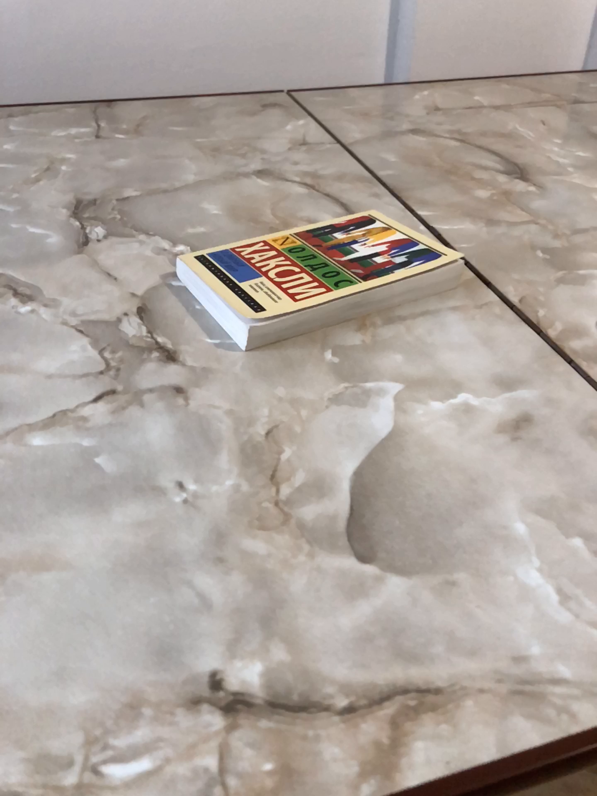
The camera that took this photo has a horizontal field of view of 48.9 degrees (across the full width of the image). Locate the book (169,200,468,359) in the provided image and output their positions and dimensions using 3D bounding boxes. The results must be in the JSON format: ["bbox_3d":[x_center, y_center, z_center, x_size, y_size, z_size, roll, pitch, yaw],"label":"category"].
[{"bbox_3d":[0.013,-0.096,0.489,0.184,0.028,0.121,-19,42,-23],"label":"book"}]
